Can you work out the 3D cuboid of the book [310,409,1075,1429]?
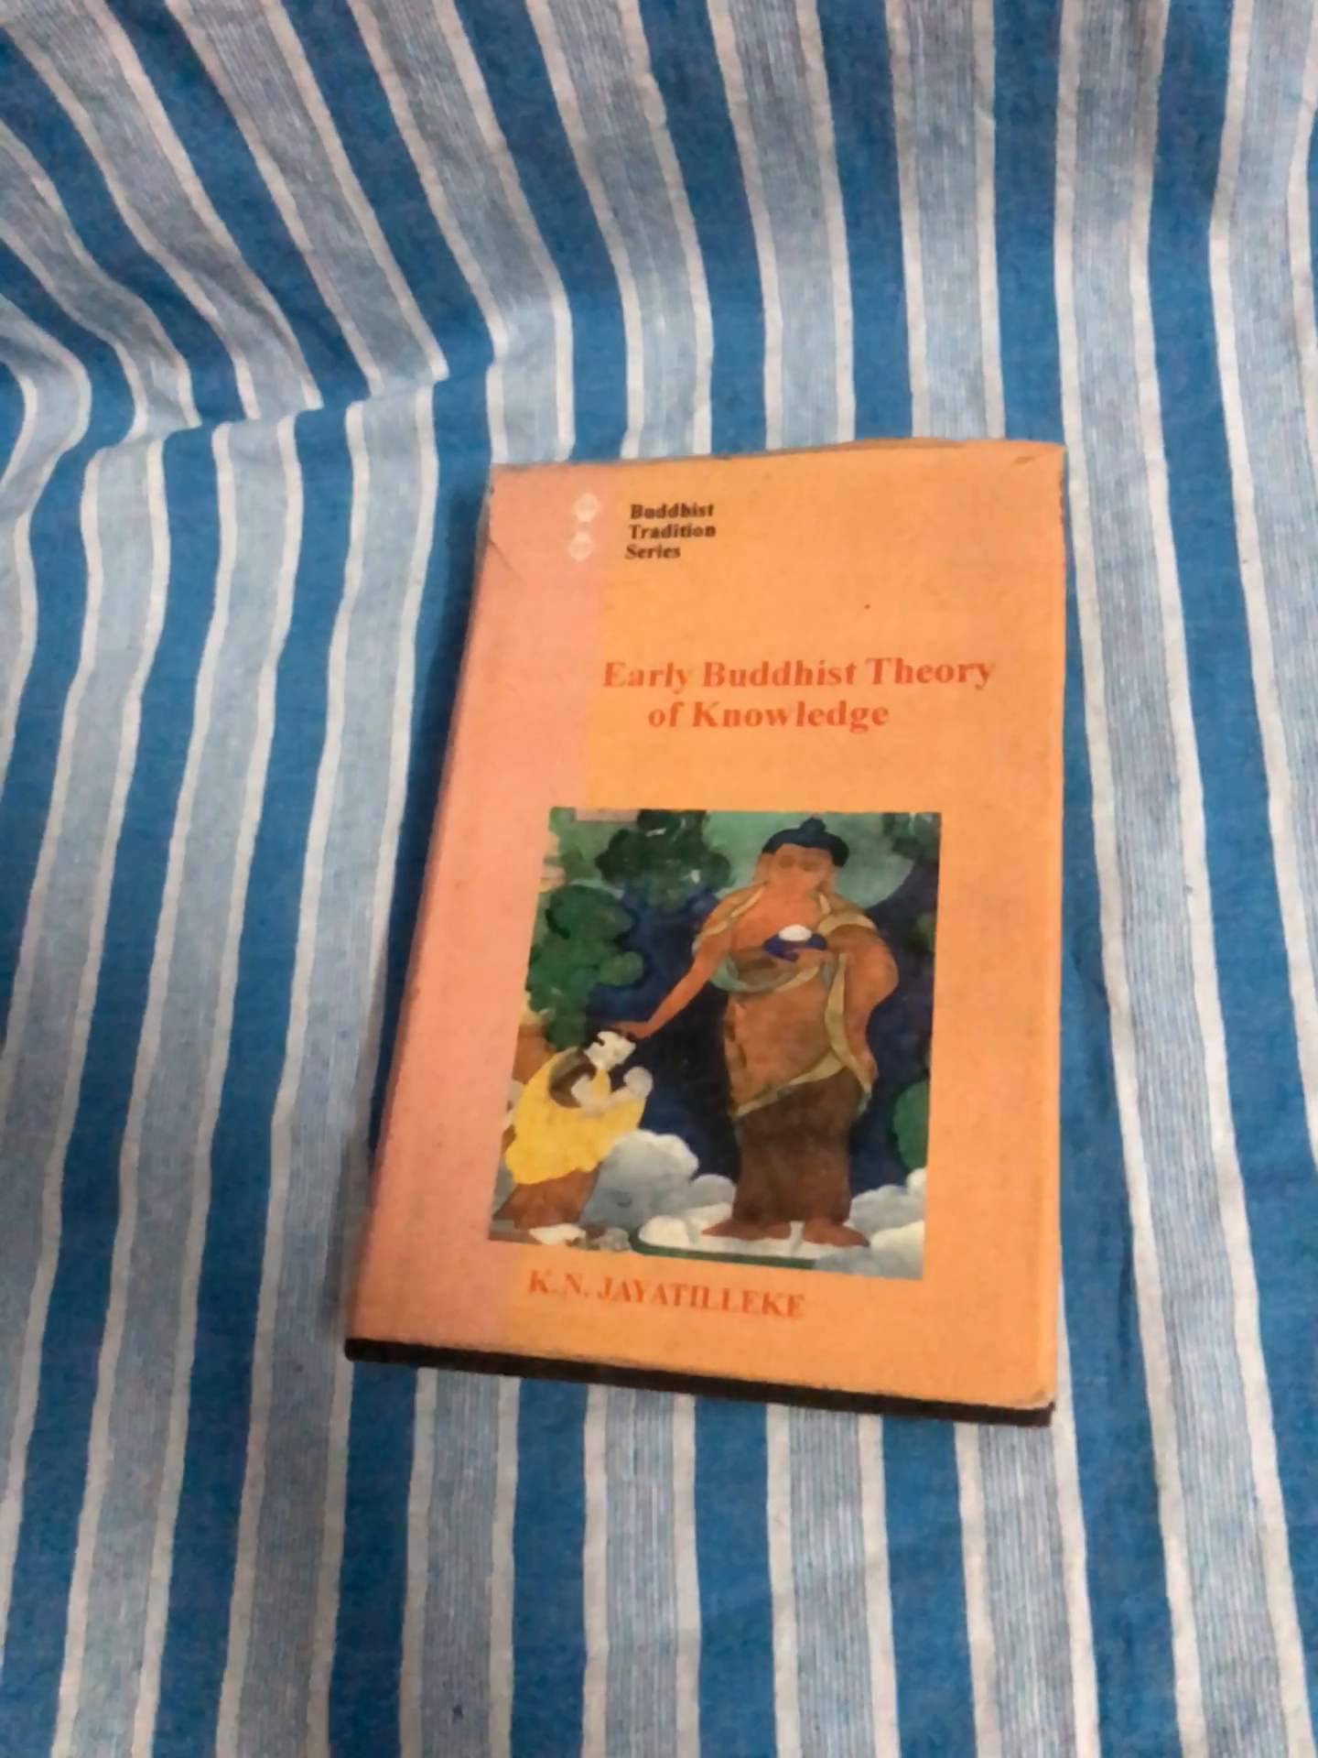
[{"bbox_3d":[0.015,-0.001,0.330,0.150,0.030,0.220,1,71,12],"label":"book"}]
